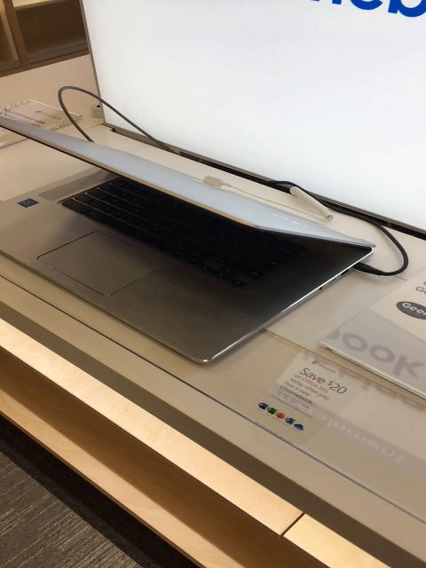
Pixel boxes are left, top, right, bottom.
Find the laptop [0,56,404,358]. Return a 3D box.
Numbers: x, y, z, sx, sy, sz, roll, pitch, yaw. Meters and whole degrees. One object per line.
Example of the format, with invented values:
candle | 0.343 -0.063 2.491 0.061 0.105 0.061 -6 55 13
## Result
laptop | -0.059 -0.109 0.608 0.375 0.159 0.262 28 47 27
